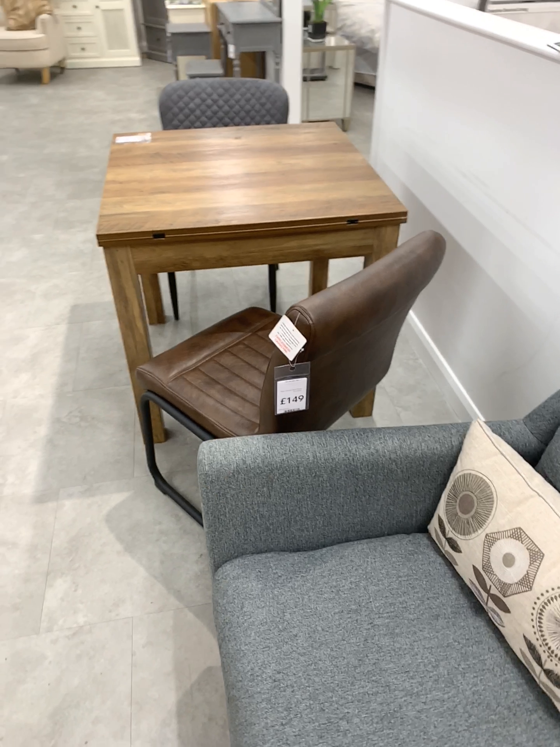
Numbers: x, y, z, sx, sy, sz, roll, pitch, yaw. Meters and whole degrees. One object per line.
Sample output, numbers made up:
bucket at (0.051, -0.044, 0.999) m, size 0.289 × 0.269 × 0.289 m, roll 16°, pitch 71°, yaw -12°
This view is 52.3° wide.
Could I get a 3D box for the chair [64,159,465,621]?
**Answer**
chair at (-0.043, 0.010, 1.372) m, size 0.635 × 0.773 × 0.500 m, roll 32°, pitch 49°, yaw 34°
